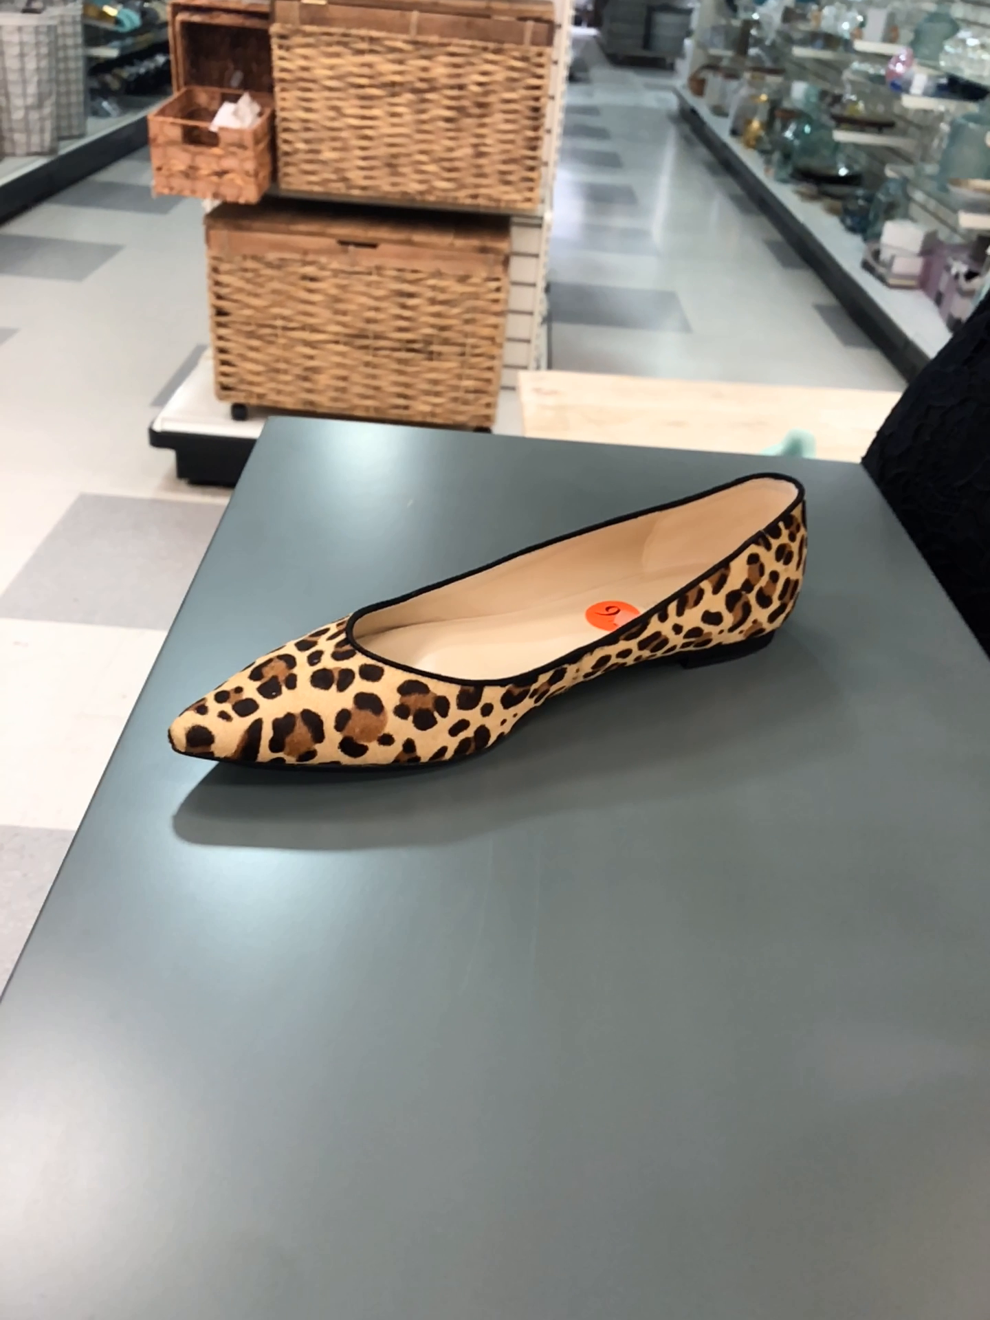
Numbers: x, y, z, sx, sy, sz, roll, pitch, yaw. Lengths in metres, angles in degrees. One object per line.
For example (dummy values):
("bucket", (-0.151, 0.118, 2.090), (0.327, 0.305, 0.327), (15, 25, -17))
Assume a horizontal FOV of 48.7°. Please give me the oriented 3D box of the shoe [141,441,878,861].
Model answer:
("shoe", (0.014, -0.020, 0.453), (0.286, 0.073, 0.097), (-15, 38, -28))
